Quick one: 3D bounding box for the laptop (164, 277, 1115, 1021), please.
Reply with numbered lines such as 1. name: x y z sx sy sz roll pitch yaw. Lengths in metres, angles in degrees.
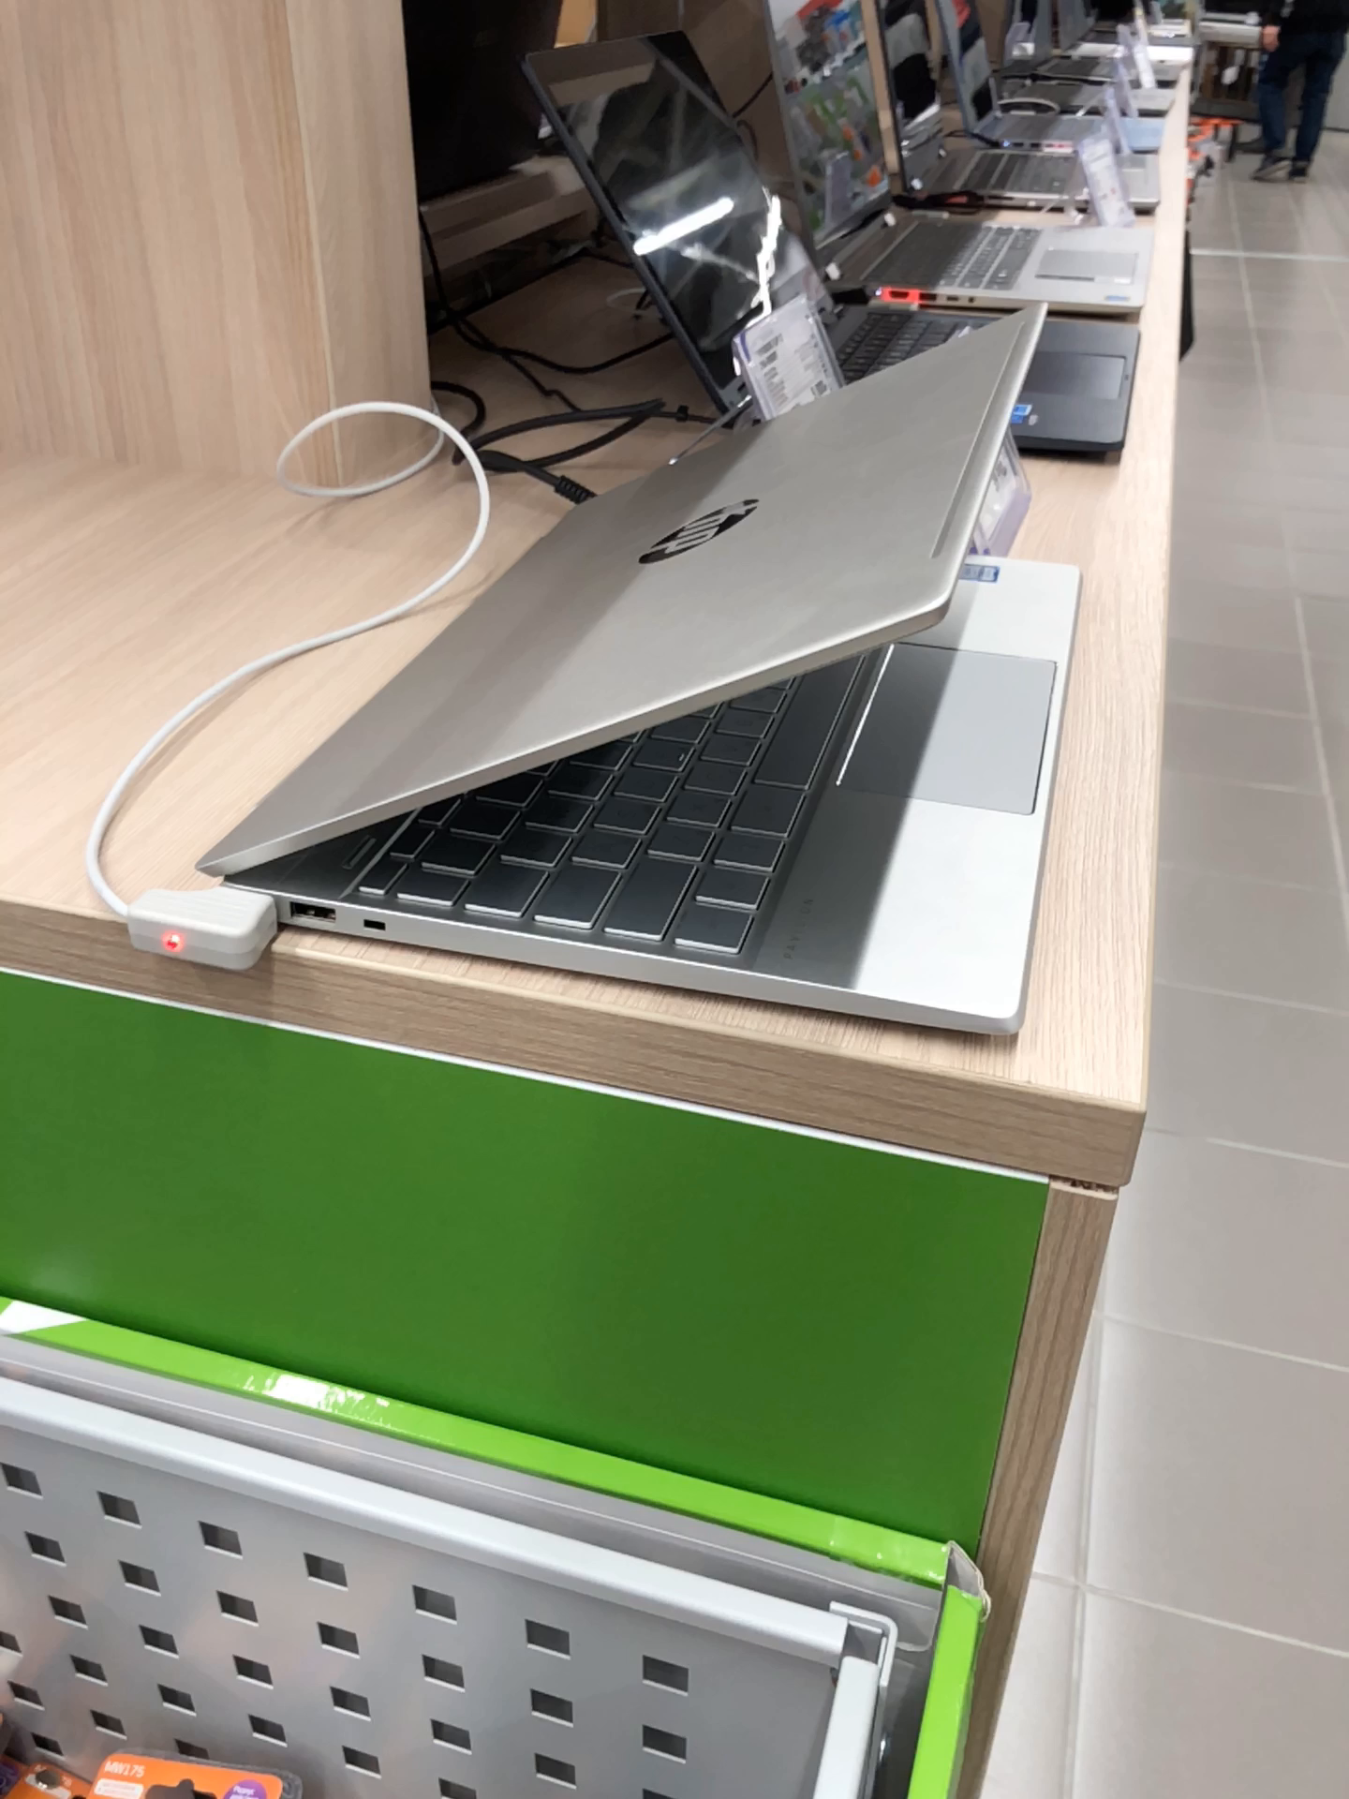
1. laptop: 0.024 -0.113 0.485 0.206 0.095 0.323 10 34 13
